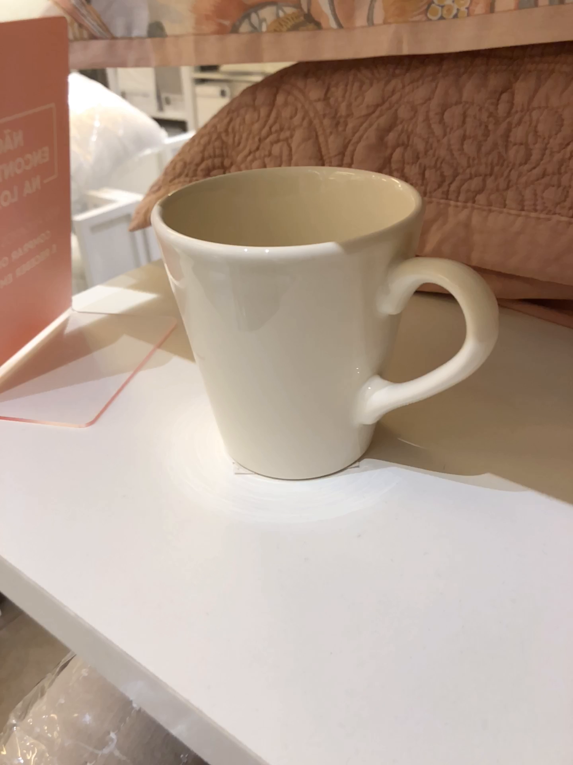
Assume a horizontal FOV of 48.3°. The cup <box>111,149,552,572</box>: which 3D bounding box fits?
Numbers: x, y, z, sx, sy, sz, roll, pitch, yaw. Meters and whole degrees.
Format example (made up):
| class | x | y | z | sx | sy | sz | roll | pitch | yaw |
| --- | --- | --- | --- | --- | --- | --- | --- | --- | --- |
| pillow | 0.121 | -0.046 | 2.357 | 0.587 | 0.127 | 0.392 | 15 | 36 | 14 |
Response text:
| class | x | y | z | sx | sy | sz | roll | pitch | yaw |
| --- | --- | --- | --- | --- | --- | --- | --- | --- | --- |
| cup | 0.019 | -0.016 | 0.219 | 0.110 | 0.099 | 0.081 | 13 | 35 | 24 |
